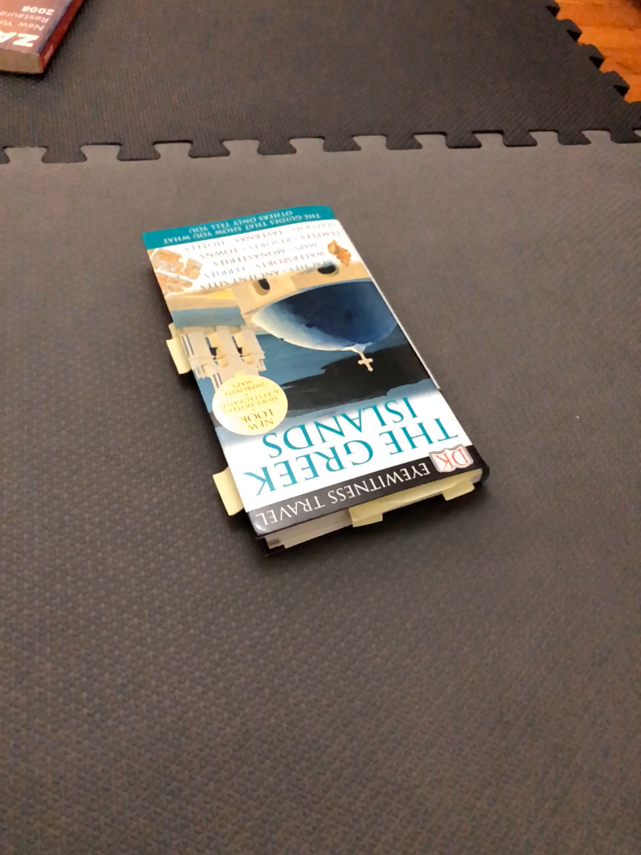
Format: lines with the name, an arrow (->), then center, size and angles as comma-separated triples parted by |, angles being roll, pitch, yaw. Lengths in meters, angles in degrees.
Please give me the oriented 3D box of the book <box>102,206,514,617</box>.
book -> -0.020, -0.031, 0.410 | 0.160, 0.030, 0.241 | -13, 57, -18
